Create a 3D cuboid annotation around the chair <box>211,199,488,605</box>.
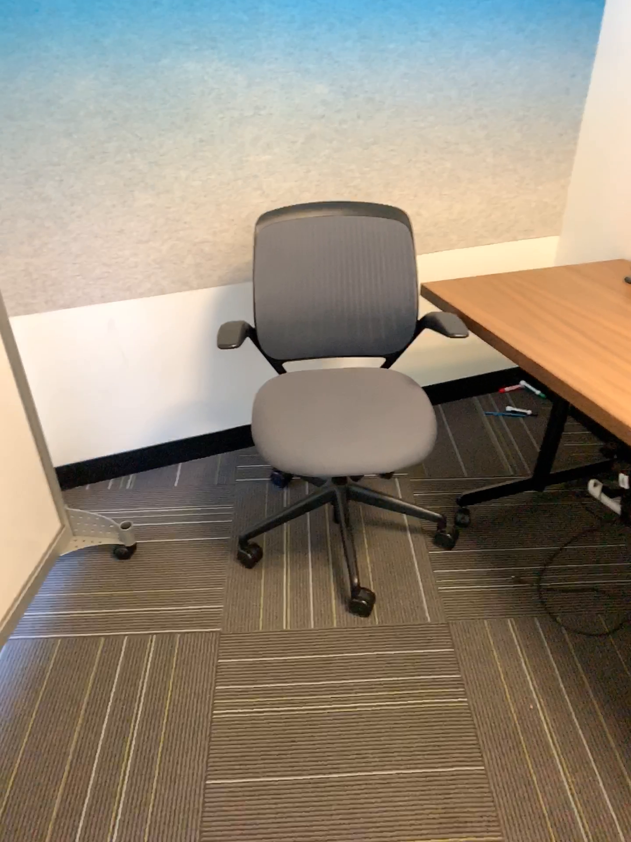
[{"bbox_3d":[0.067,-0.049,1.713,0.540,0.934,0.533,-1,31,0],"label":"chair"}]
